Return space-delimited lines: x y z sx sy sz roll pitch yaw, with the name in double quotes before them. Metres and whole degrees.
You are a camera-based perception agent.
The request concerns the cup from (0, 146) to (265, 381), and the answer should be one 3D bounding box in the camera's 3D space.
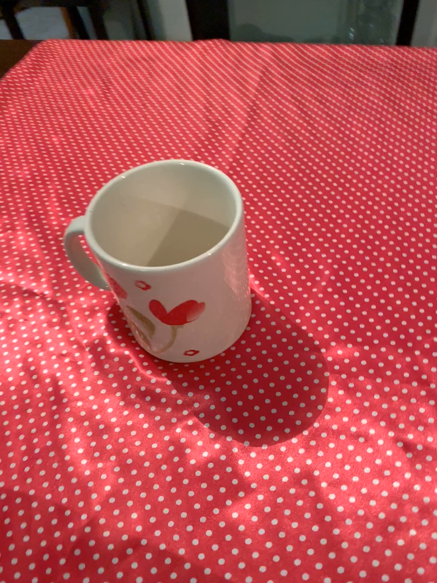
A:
"cup" -0.040 -0.017 0.260 0.120 0.090 0.090 4 53 11
